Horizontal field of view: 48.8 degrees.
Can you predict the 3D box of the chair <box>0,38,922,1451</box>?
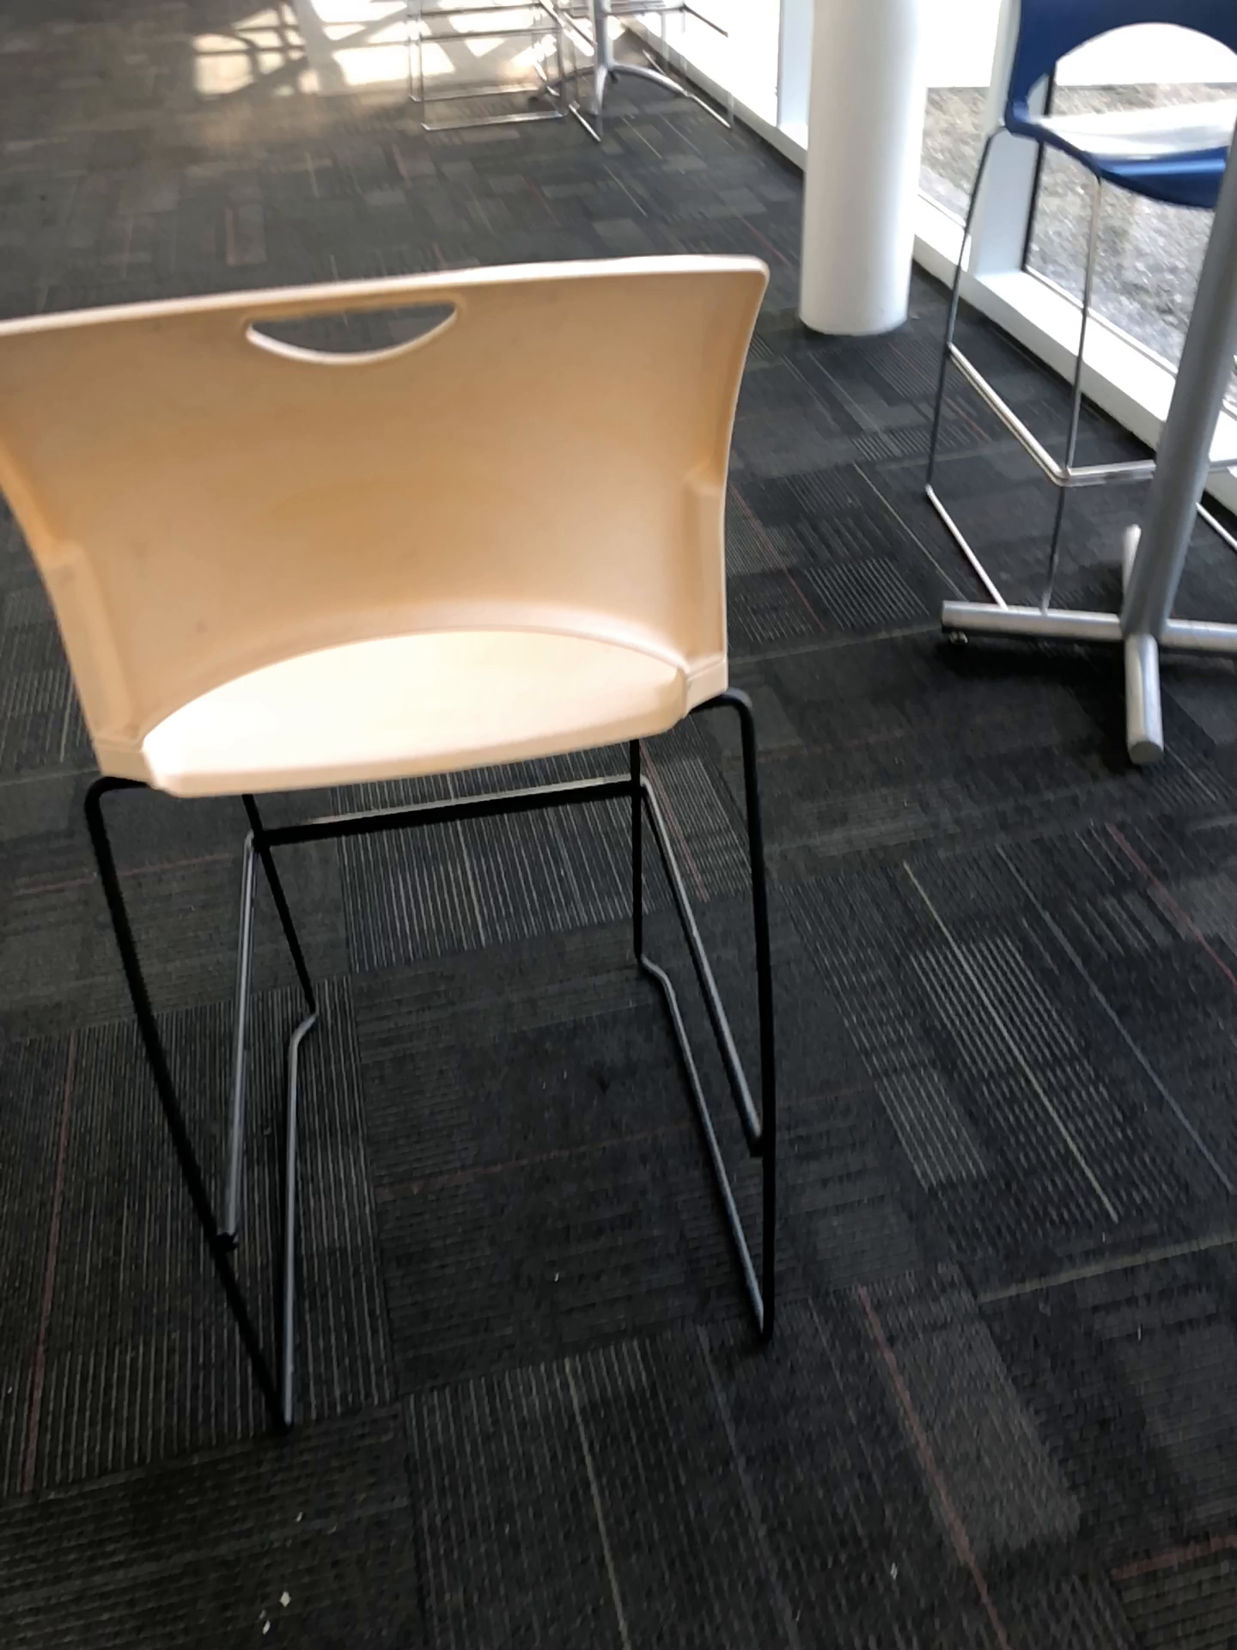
[{"bbox_3d":[-0.170,-0.069,1.257,0.580,0.995,0.724,-8,40,-6],"label":"chair"}]
